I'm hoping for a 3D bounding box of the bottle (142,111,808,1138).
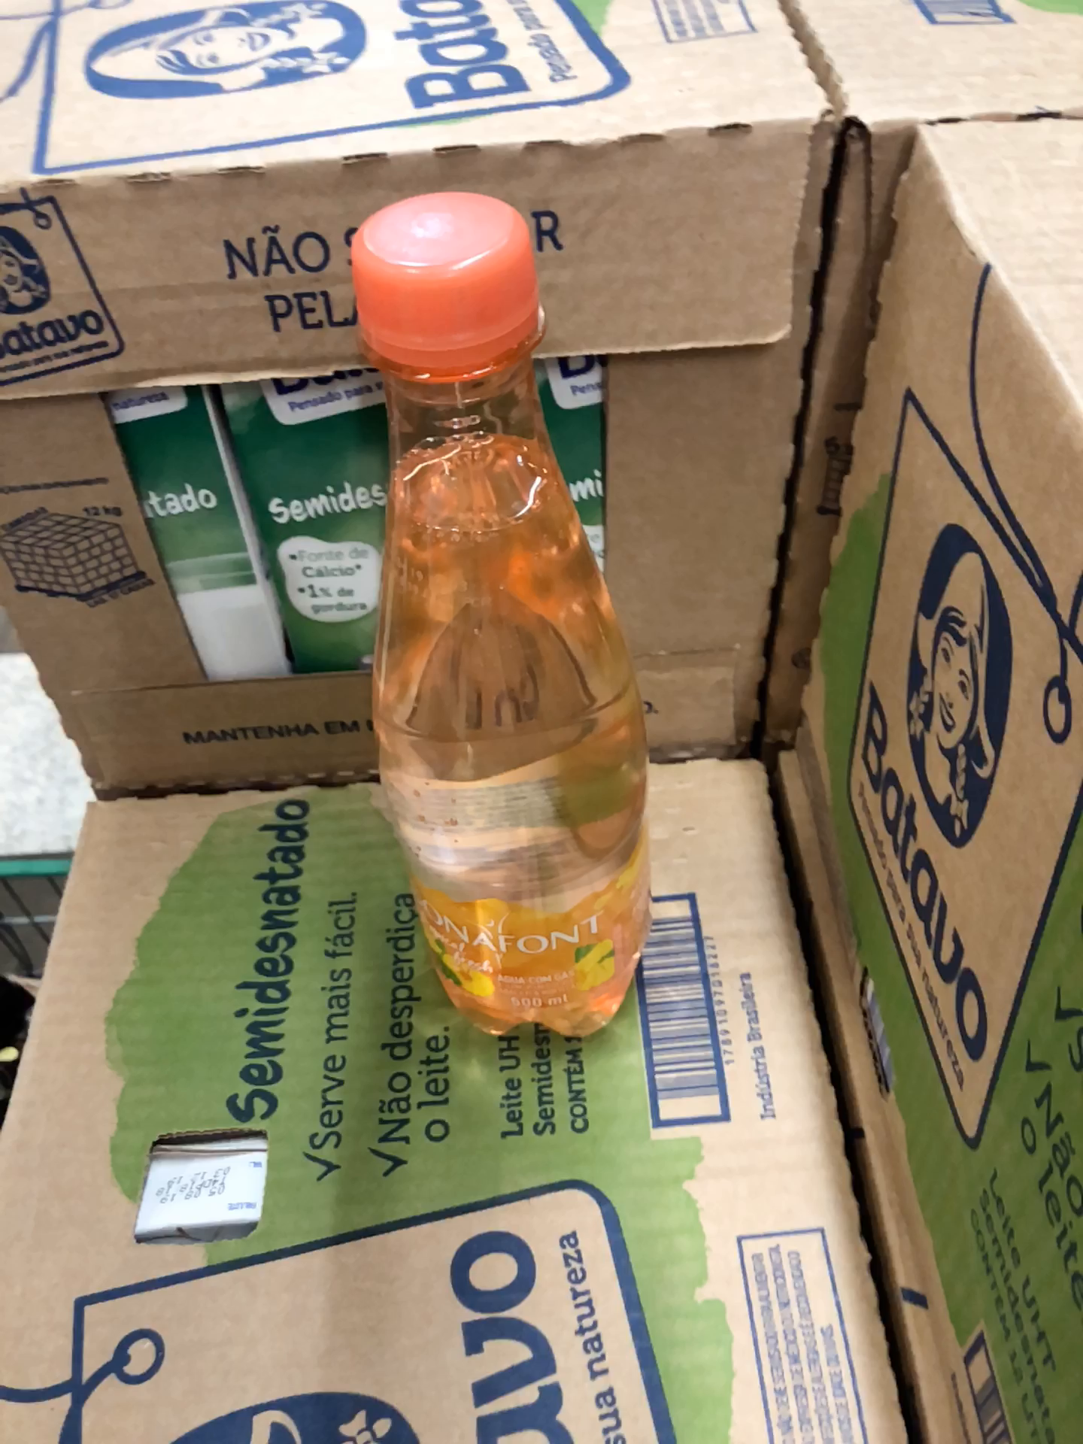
[{"bbox_3d":[-0.004,-0.001,0.276,0.080,0.228,0.070,24,54,23],"label":"bottle"}]
